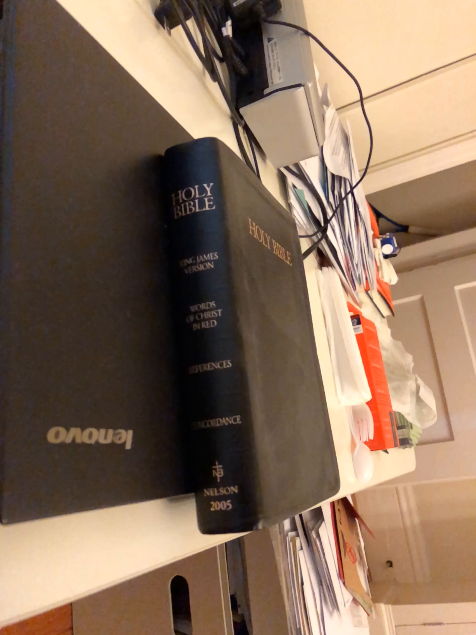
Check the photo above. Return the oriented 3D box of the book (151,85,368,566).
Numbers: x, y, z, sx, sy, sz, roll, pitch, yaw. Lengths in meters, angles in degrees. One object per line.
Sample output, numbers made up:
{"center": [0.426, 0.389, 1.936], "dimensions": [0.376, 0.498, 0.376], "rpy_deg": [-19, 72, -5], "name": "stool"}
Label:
{"center": [0.021, 0.008, 0.337], "dimensions": [0.171, 0.040, 0.240], "rpy_deg": [22, 56, -62], "name": "book"}
